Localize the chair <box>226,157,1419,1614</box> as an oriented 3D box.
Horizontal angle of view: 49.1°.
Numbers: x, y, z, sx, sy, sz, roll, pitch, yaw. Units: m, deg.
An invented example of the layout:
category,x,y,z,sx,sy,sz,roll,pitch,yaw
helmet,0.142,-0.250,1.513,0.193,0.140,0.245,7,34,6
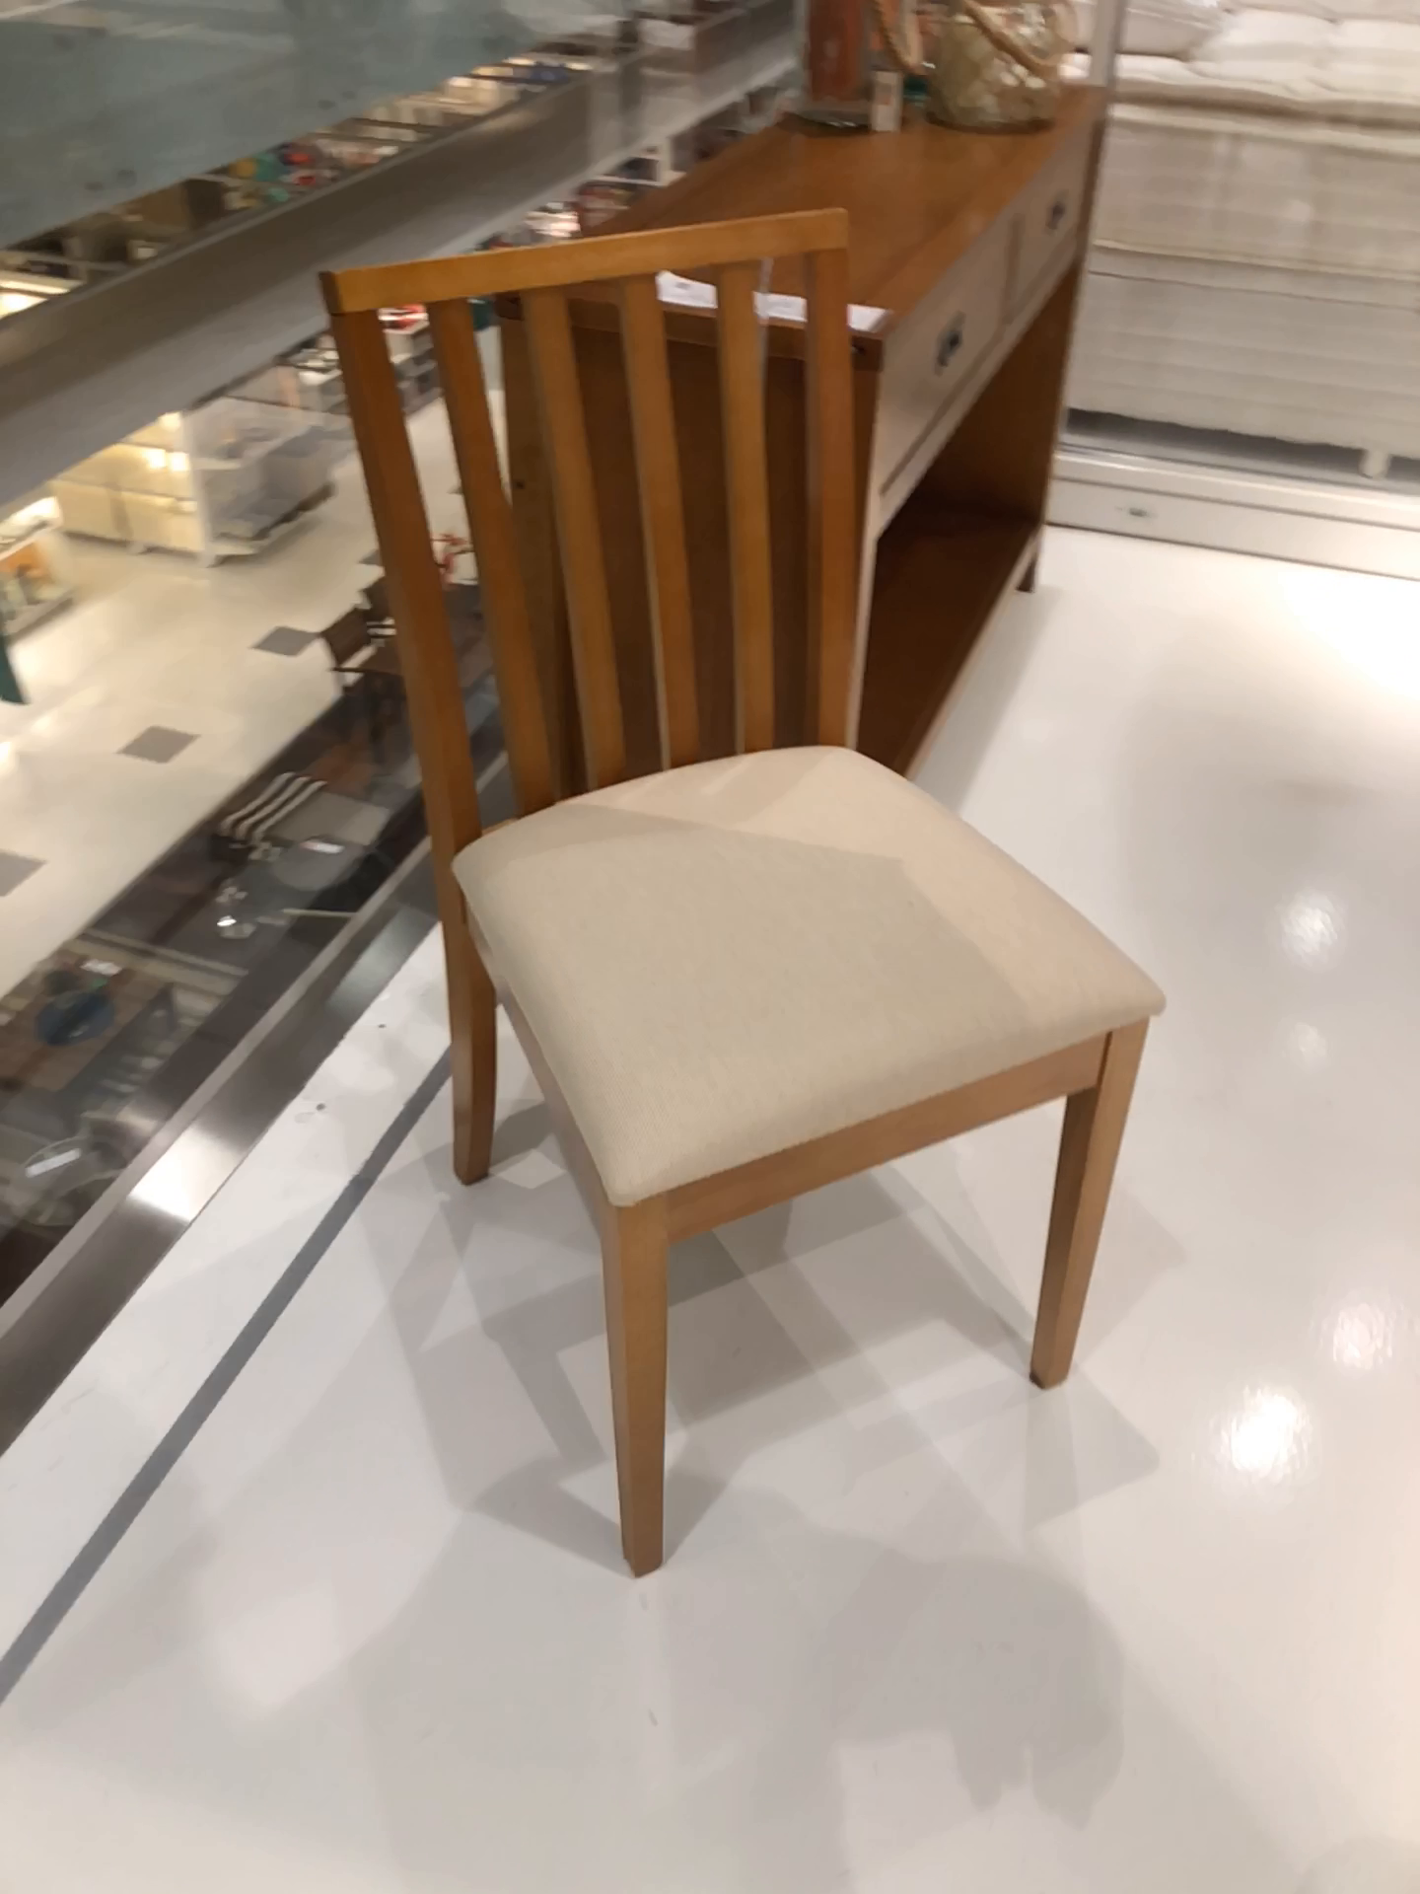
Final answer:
category,x,y,z,sx,sy,sz,roll,pitch,yaw
chair,0.046,-0.063,1.188,0.541,0.833,0.553,-18,42,-22
